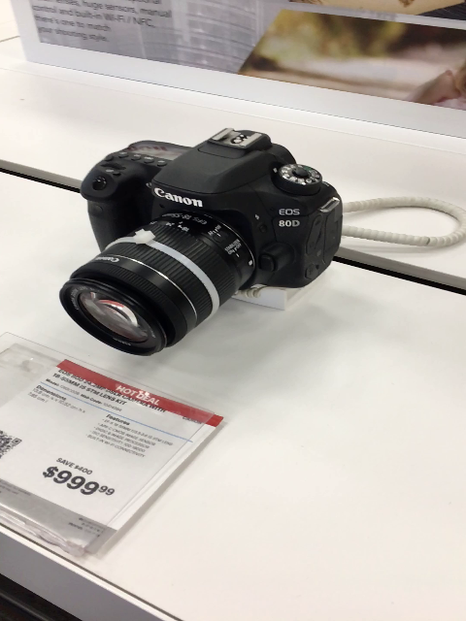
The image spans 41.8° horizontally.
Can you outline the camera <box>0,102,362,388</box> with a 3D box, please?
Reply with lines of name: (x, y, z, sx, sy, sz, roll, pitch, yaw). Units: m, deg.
camera: (-0.039, -0.048, 0.370, 0.158, 0.095, 0.139, 22, 48, 23)
